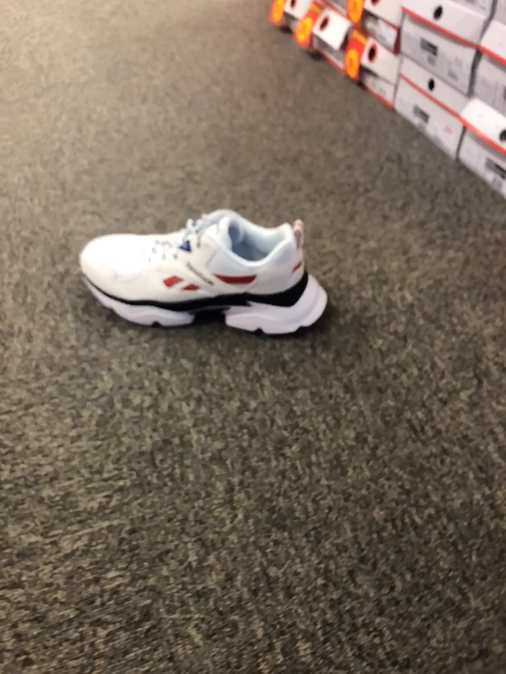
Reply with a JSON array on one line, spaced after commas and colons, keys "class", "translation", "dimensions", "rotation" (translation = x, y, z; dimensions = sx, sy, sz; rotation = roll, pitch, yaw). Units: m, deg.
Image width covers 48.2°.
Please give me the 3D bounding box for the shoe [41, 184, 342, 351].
[{"class": "shoe", "translation": [-0.060, -0.083, 0.640], "dimensions": [0.300, 0.109, 0.114], "rotation": [8, 46, 10]}]
